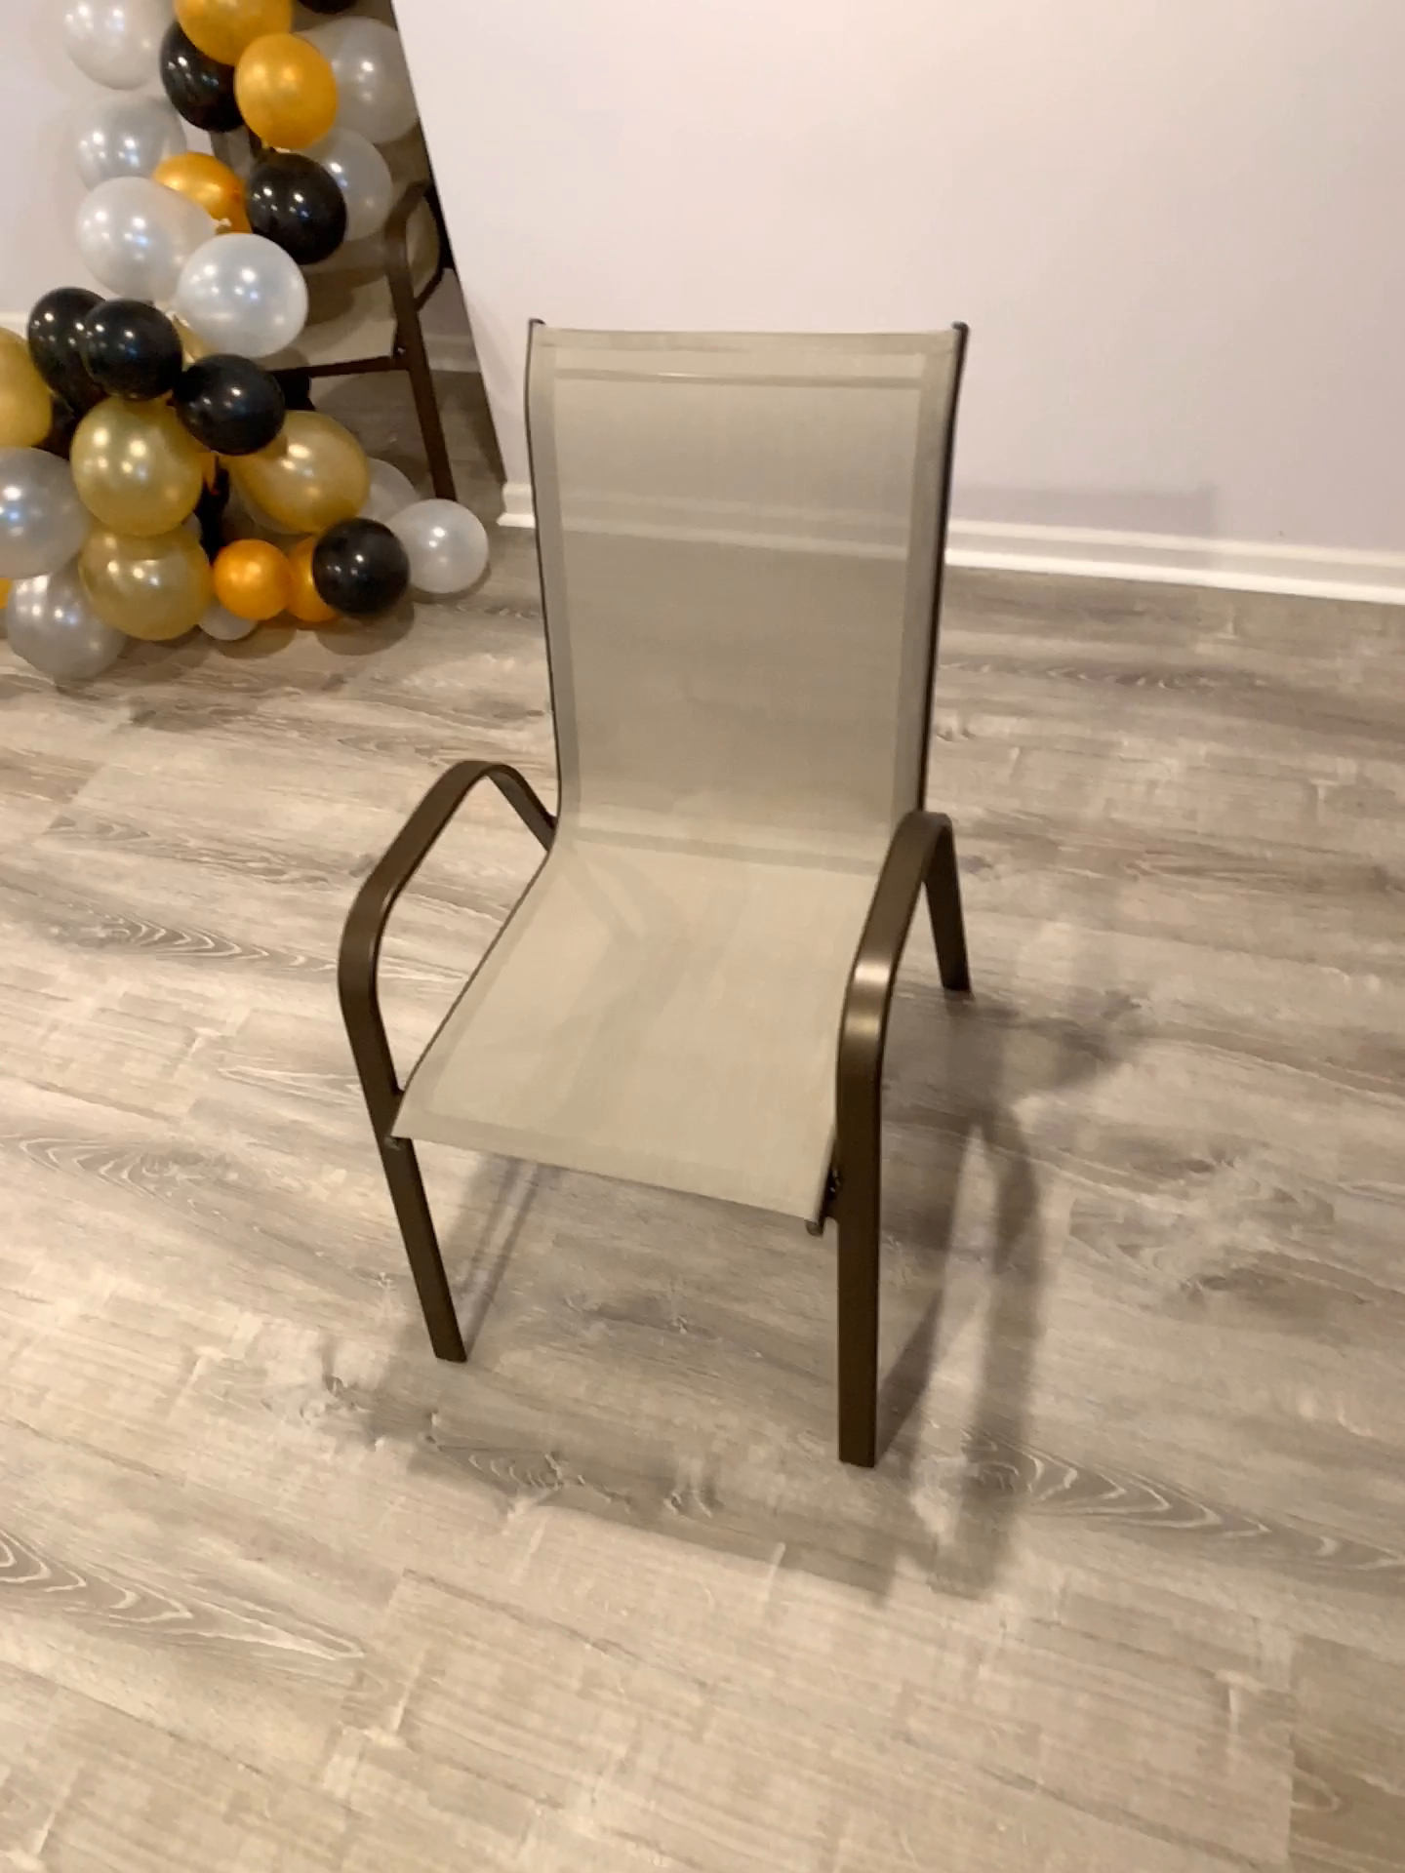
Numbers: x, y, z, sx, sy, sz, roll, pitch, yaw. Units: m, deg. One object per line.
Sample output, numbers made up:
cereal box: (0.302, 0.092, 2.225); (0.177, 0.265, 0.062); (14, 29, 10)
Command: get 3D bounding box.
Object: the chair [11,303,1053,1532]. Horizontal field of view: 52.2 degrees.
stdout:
chair: (-0.024, -0.014, 1.389); (0.564, 0.874, 0.719); (8, 49, 16)
